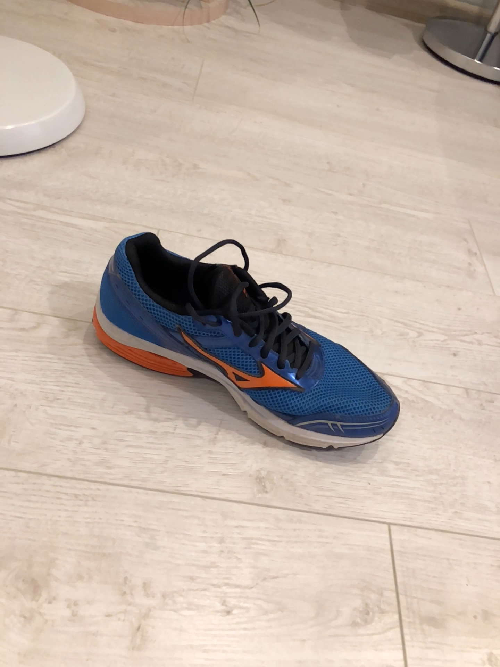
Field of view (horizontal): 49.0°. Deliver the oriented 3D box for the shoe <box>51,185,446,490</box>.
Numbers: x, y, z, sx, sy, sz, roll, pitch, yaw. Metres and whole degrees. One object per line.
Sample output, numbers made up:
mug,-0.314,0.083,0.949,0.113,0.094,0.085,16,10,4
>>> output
shoe,-0.003,0.001,0.481,0.300,0.119,0.117,22,47,4
